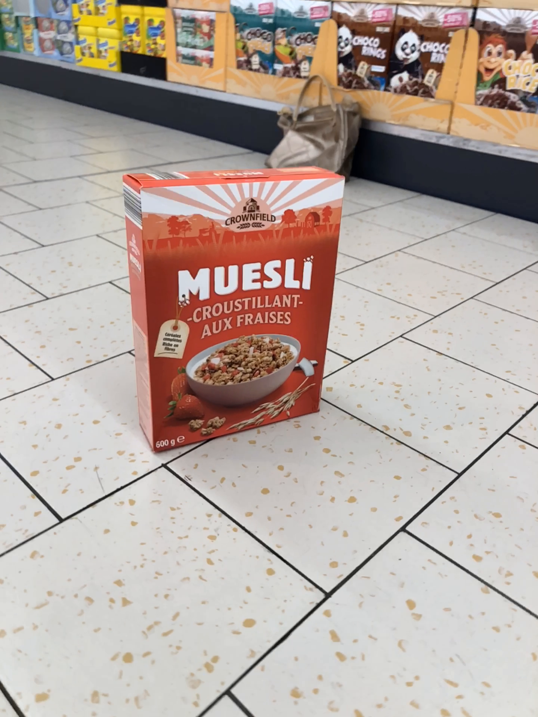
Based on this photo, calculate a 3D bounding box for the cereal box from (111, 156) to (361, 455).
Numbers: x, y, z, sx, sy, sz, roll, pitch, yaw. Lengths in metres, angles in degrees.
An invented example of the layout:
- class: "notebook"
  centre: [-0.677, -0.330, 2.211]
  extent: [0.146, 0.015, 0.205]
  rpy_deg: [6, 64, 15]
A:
- class: "cereal box"
  centre: [-0.031, -0.053, 0.559]
  extent: [0.201, 0.249, 0.070]
  rpy_deg: [-10, 30, -24]
